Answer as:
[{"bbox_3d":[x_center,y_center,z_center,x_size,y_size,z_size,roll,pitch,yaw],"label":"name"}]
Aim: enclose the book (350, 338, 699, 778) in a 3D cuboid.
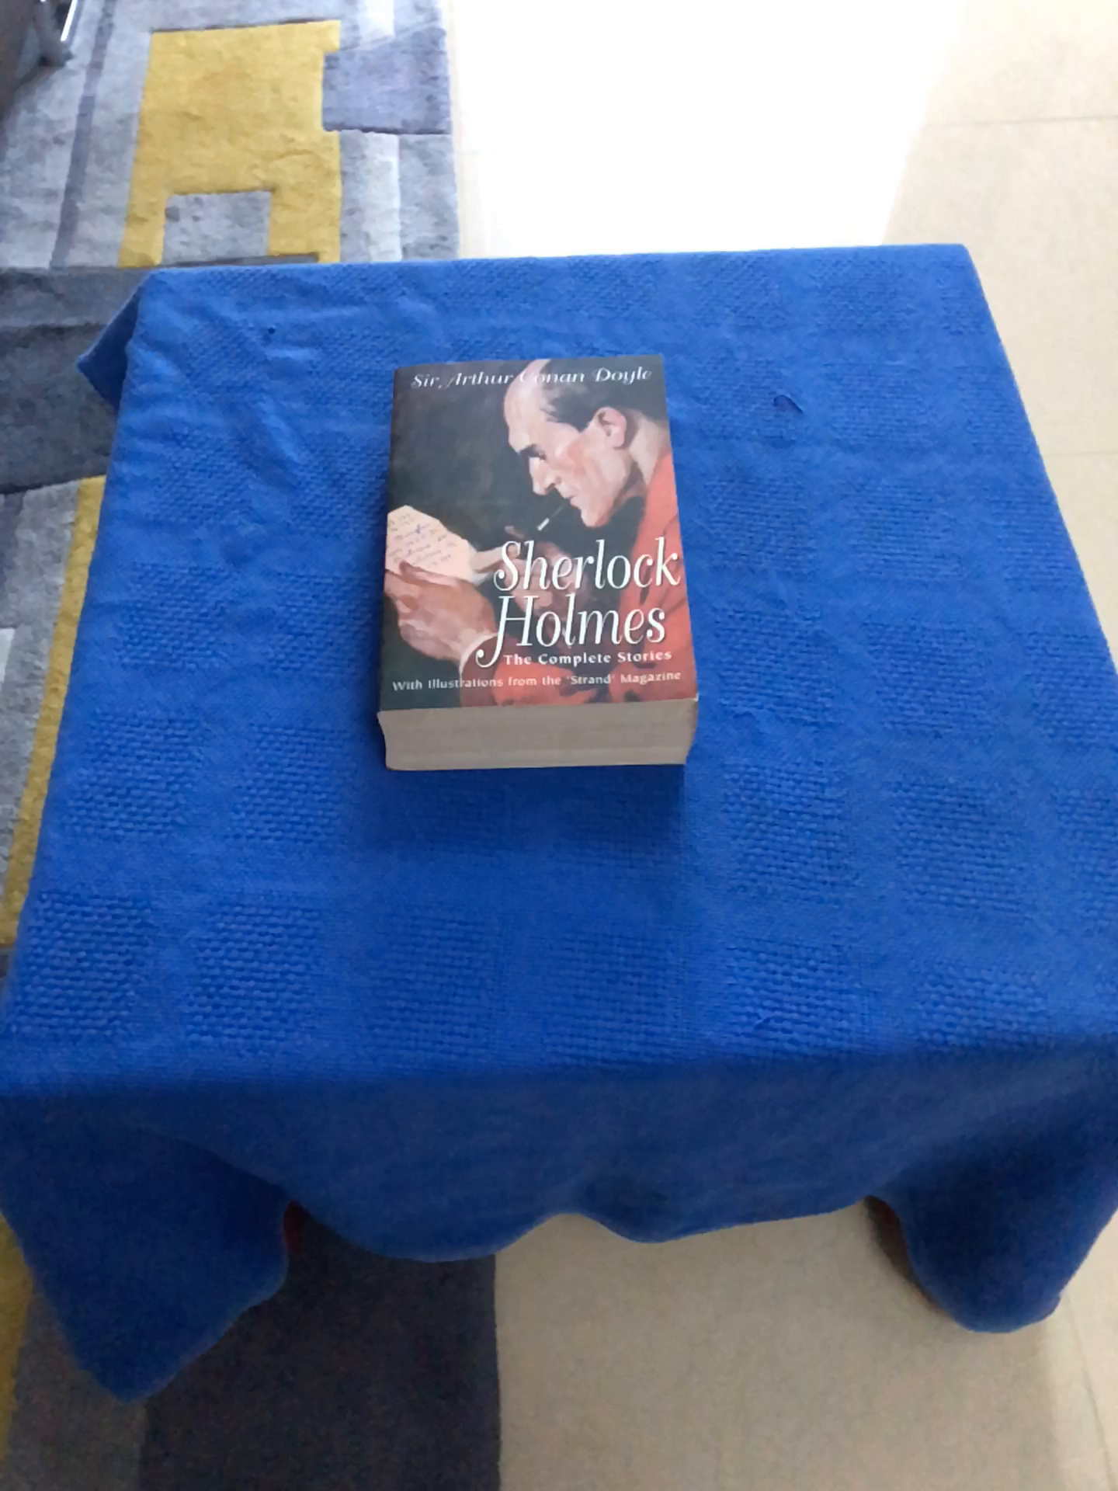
[{"bbox_3d":[-0.019,-0.106,0.659,0.160,0.070,0.241,-2,58,0],"label":"book"}]
